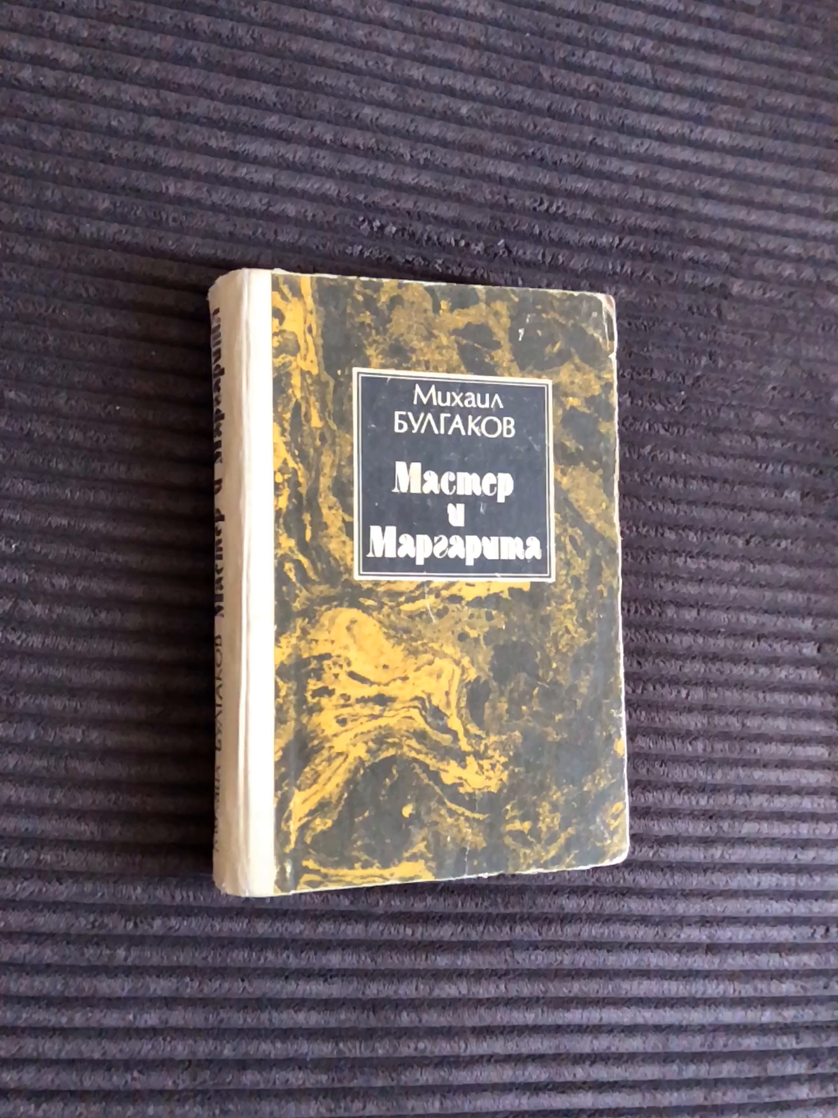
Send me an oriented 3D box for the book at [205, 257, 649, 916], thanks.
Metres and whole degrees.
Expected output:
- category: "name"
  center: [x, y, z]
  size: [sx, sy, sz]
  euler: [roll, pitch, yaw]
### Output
- category: "book"
  center: [0.001, 0.006, 0.344]
  size: [0.154, 0.035, 0.220]
  euler: [-1, 85, -15]
